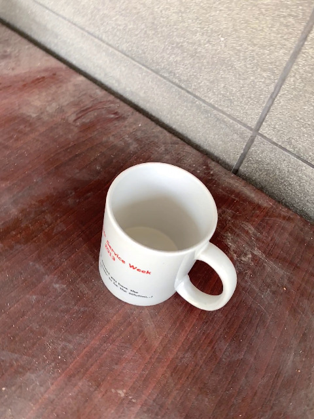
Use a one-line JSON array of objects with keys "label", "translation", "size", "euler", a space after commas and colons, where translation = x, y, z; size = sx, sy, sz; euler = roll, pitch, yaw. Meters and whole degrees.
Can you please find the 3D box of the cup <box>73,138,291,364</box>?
[{"label": "cup", "translation": [0.012, 0.032, 0.256], "size": [0.120, 0.100, 0.090], "euler": [34, 53, 14]}]
